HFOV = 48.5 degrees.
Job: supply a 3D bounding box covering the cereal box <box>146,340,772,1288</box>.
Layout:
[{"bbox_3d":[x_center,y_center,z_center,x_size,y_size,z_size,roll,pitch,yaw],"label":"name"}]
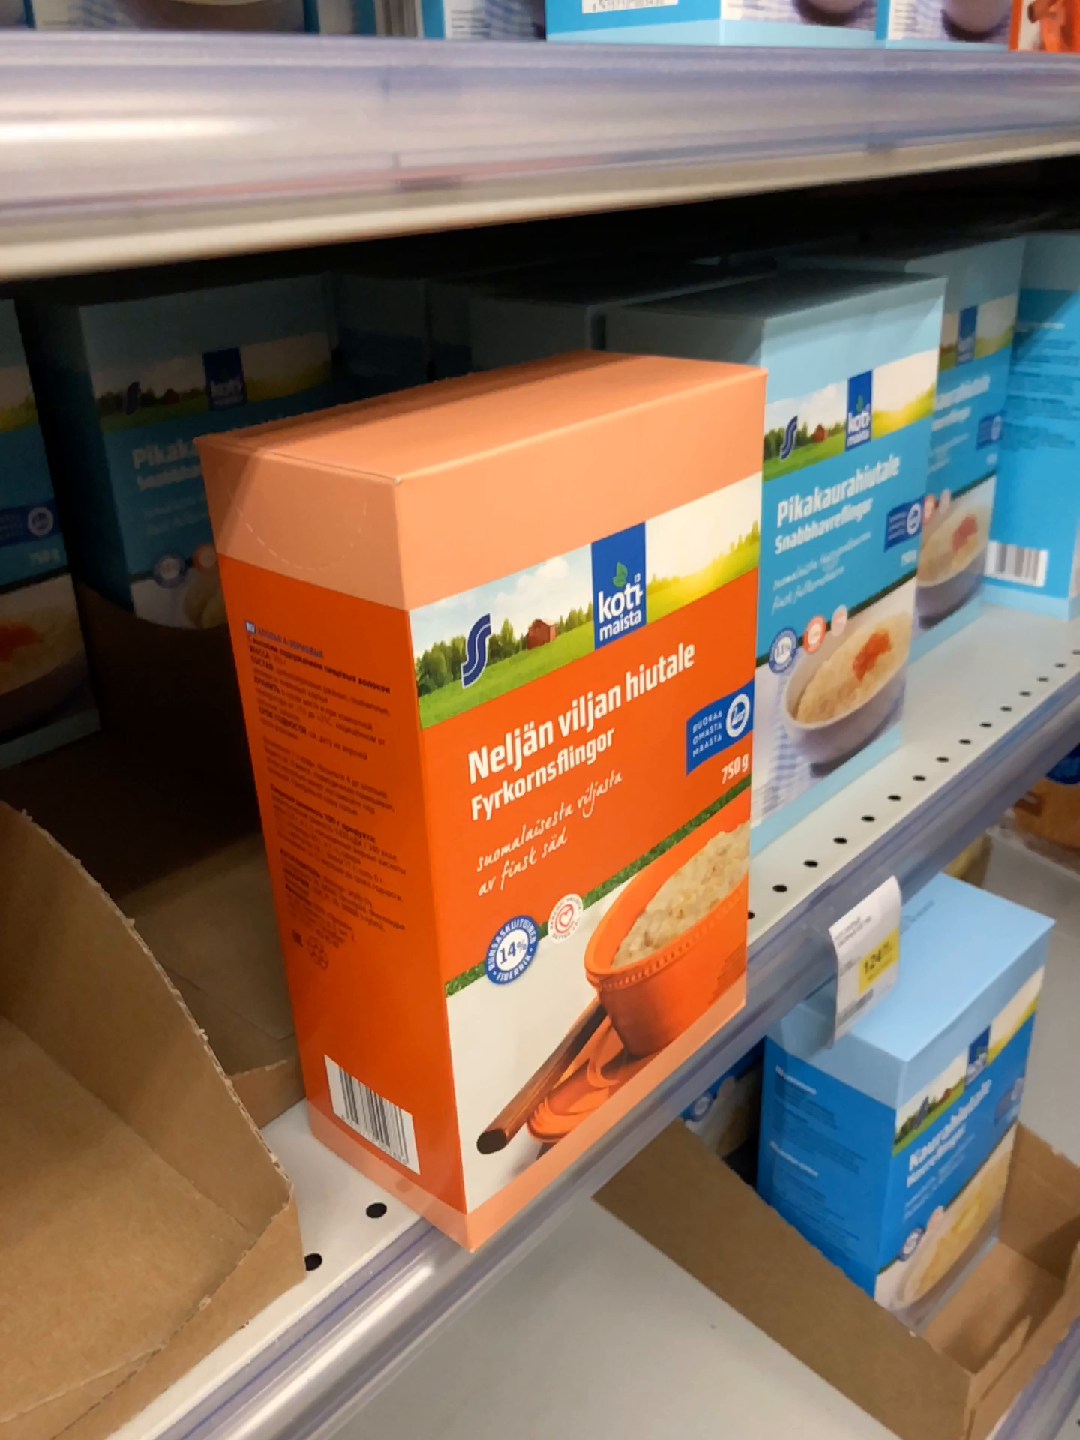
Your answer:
[{"bbox_3d":[-0.007,0.018,0.360,0.080,0.229,0.151,18,33,39],"label":"cereal box"}]
